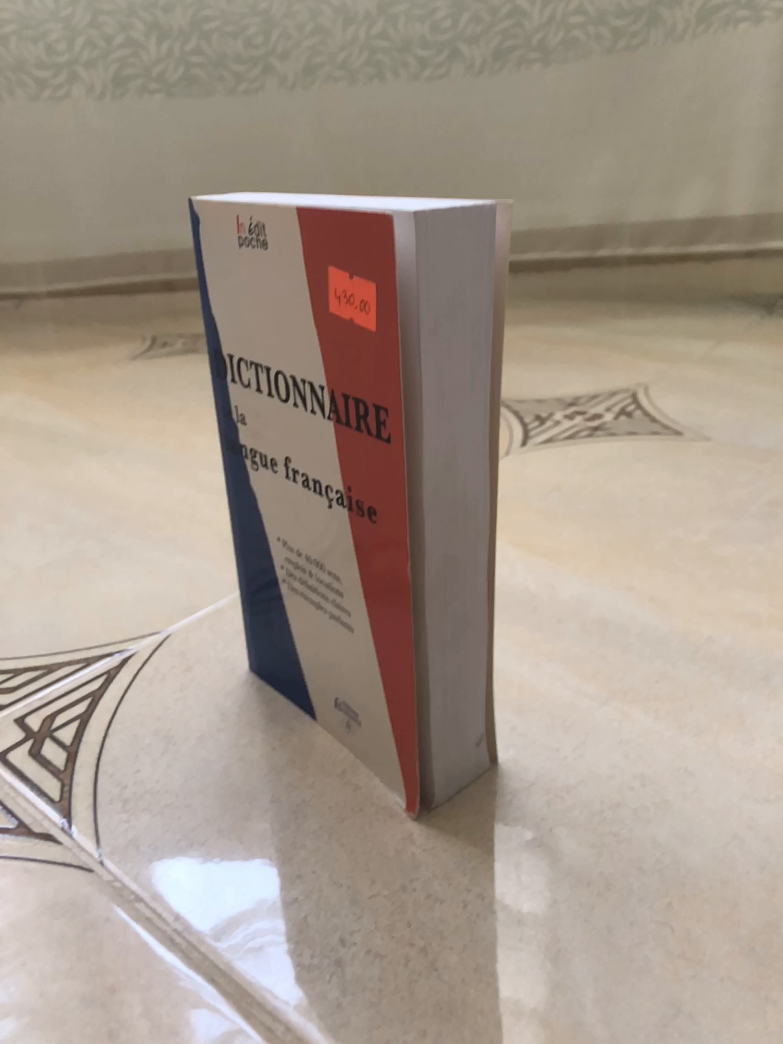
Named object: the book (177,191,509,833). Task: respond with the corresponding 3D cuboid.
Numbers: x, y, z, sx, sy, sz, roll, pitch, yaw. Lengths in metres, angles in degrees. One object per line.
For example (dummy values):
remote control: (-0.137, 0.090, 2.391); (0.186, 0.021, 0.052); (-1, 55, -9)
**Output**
book: (-0.016, -0.010, 0.288); (0.034, 0.182, 0.121); (-19, 29, -32)
